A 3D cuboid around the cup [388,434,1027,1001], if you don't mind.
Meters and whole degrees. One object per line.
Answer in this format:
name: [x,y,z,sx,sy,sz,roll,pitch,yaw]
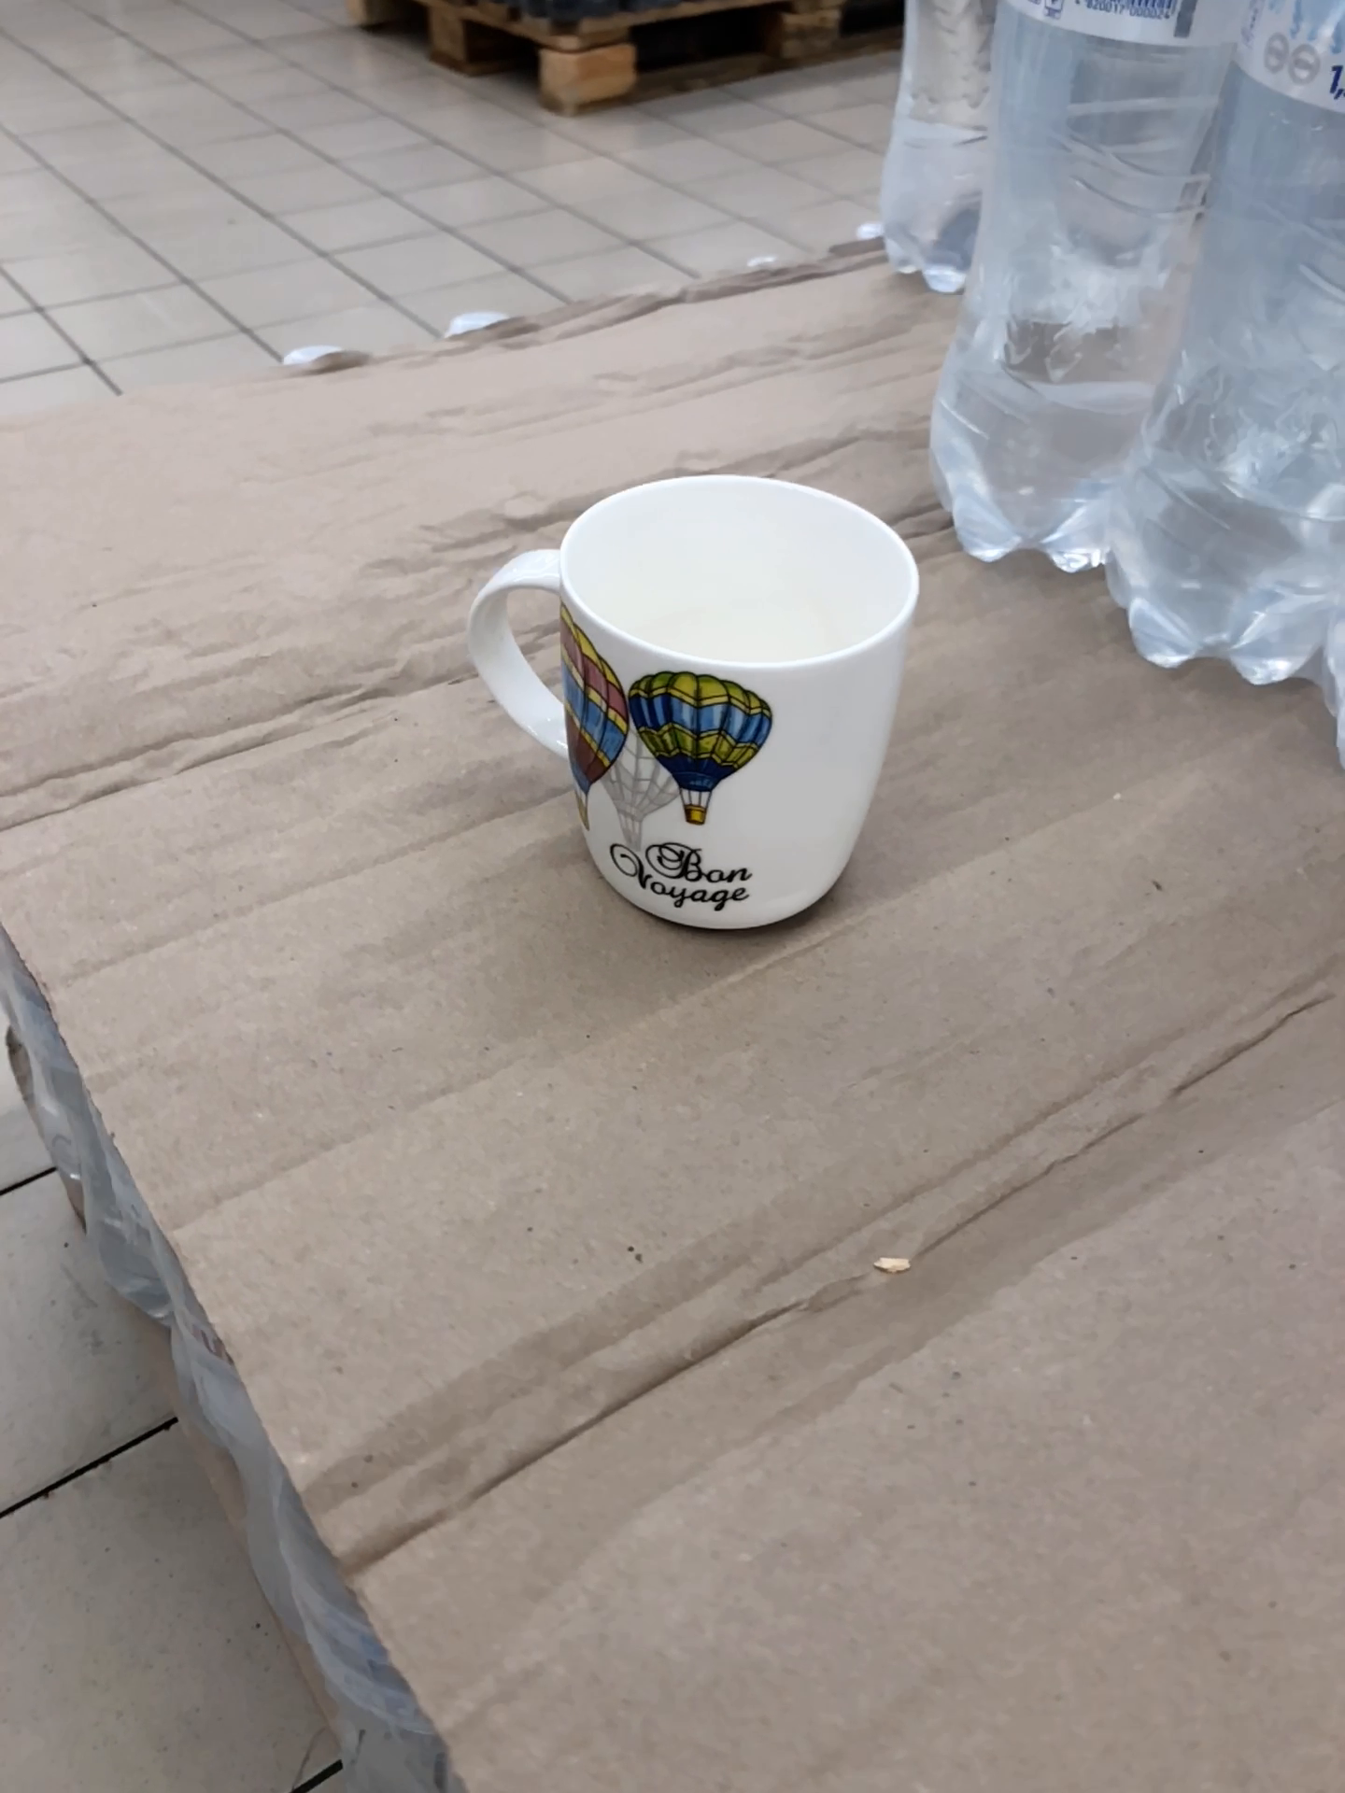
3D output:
cup: [0.010,-0.053,0.394,0.131,0.082,0.093,19,45,19]
